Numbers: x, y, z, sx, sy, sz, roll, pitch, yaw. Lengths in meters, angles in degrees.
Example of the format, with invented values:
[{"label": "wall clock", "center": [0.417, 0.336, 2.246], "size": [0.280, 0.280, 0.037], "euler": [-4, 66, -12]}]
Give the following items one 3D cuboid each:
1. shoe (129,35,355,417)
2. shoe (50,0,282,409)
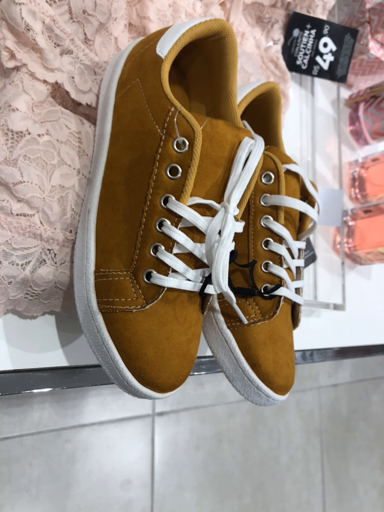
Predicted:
[{"label": "shoe", "center": [0.034, -0.014, 0.327], "size": [0.101, 0.099, 0.240], "euler": [11, 68, -54]}, {"label": "shoe", "center": [-0.018, -0.037, 0.274], "size": [0.090, 0.099, 0.240], "euler": [14, 70, -53]}]
